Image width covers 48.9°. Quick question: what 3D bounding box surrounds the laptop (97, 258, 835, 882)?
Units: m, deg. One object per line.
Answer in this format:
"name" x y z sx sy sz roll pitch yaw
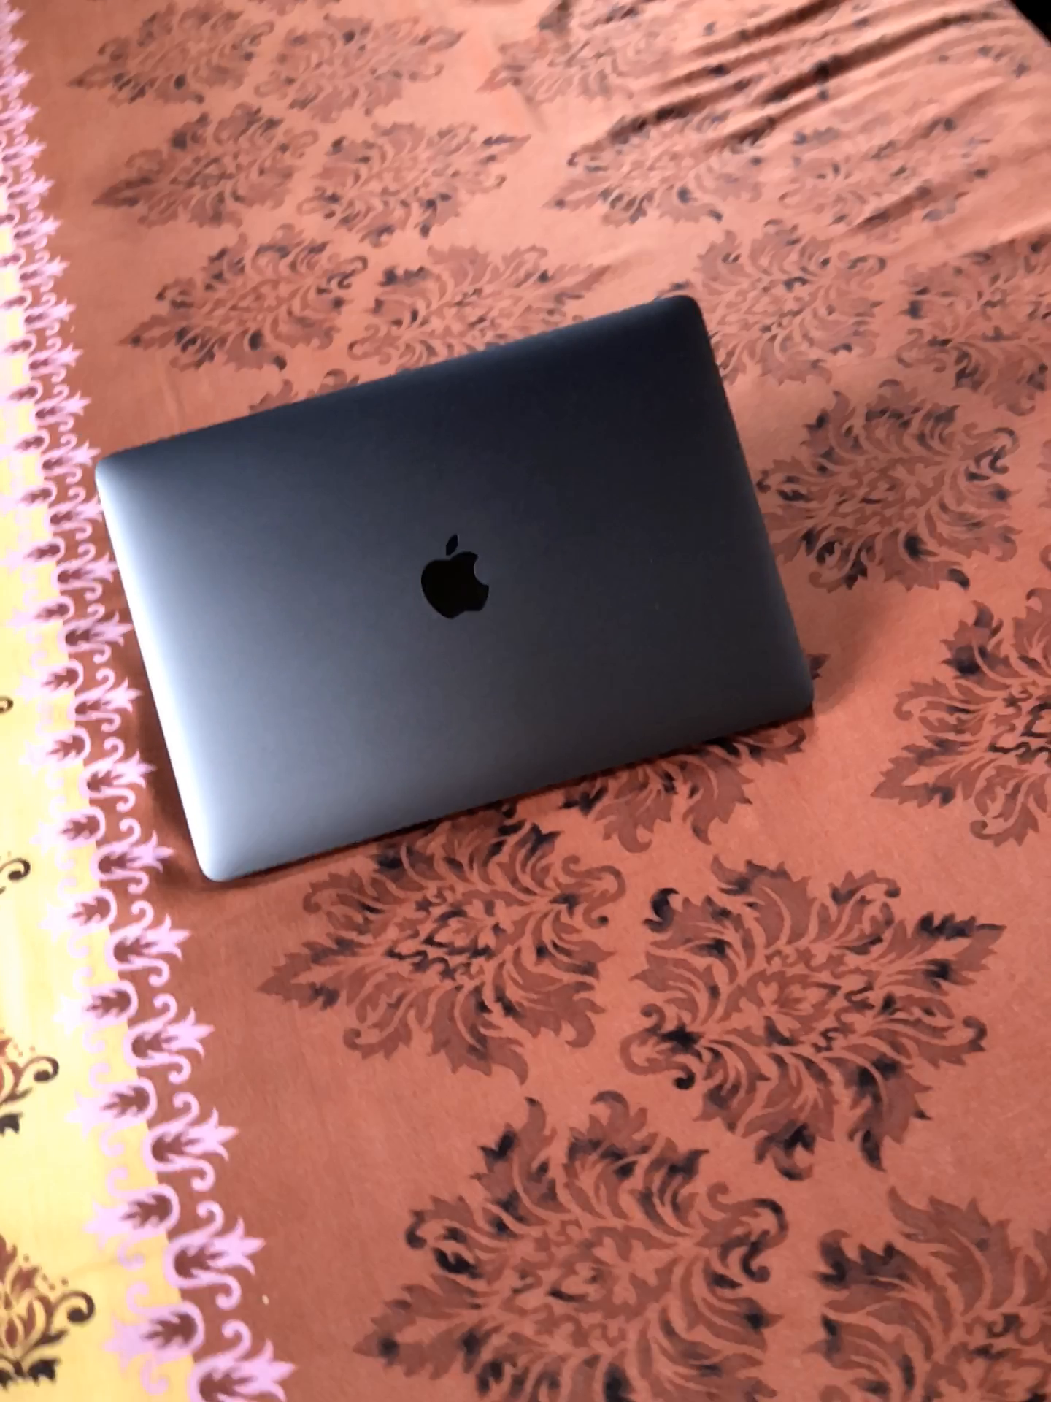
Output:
"laptop" -0.034 -0.064 0.540 0.285 0.093 0.205 -15 62 -2
